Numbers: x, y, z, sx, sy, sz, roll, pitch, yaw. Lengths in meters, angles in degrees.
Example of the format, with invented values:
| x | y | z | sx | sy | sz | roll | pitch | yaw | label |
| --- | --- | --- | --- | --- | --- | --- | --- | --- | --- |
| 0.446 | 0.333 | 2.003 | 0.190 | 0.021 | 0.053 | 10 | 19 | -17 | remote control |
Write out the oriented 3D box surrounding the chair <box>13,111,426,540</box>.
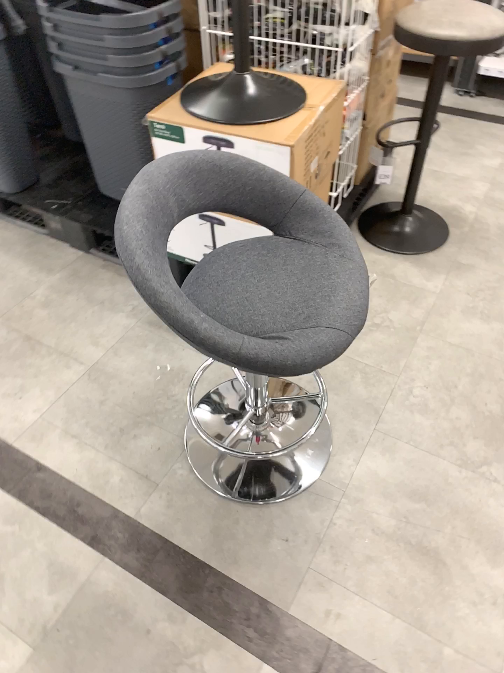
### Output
| x | y | z | sx | sy | sz | roll | pitch | yaw | label |
| --- | --- | --- | --- | --- | --- | --- | --- | --- | --- |
| -0.013 | -0.036 | 1.200 | 0.593 | 0.664 | 0.576 | 15 | 48 | 15 | chair |
